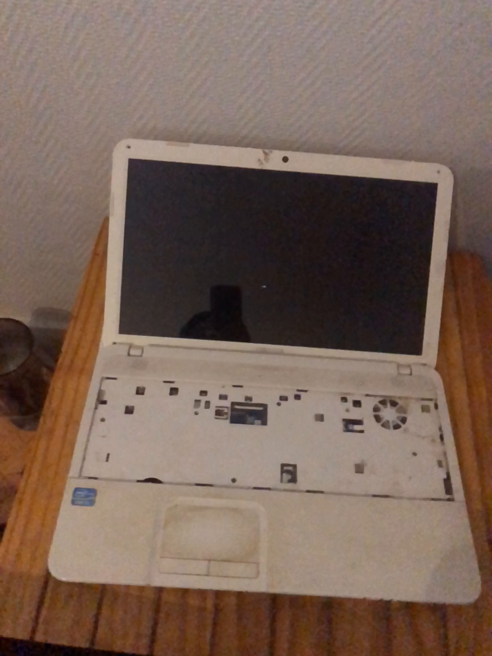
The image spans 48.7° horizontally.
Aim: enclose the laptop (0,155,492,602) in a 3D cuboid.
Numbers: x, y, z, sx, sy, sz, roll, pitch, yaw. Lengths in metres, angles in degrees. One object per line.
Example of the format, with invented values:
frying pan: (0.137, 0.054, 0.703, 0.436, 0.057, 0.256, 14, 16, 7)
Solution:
laptop: (0.017, 0.021, 0.538, 0.371, 0.118, 0.419, 4, 54, -1)
